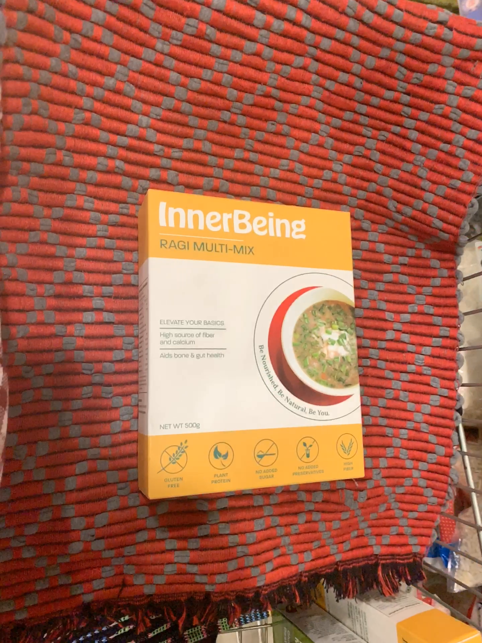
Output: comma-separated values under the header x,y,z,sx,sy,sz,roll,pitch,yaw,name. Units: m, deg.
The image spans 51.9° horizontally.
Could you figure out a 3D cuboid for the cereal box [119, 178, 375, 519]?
x,y,z,sx,sy,sz,roll,pitch,yaw,name
0.000,0.017,0.334,0.150,0.070,0.190,2,81,-20,cereal box
